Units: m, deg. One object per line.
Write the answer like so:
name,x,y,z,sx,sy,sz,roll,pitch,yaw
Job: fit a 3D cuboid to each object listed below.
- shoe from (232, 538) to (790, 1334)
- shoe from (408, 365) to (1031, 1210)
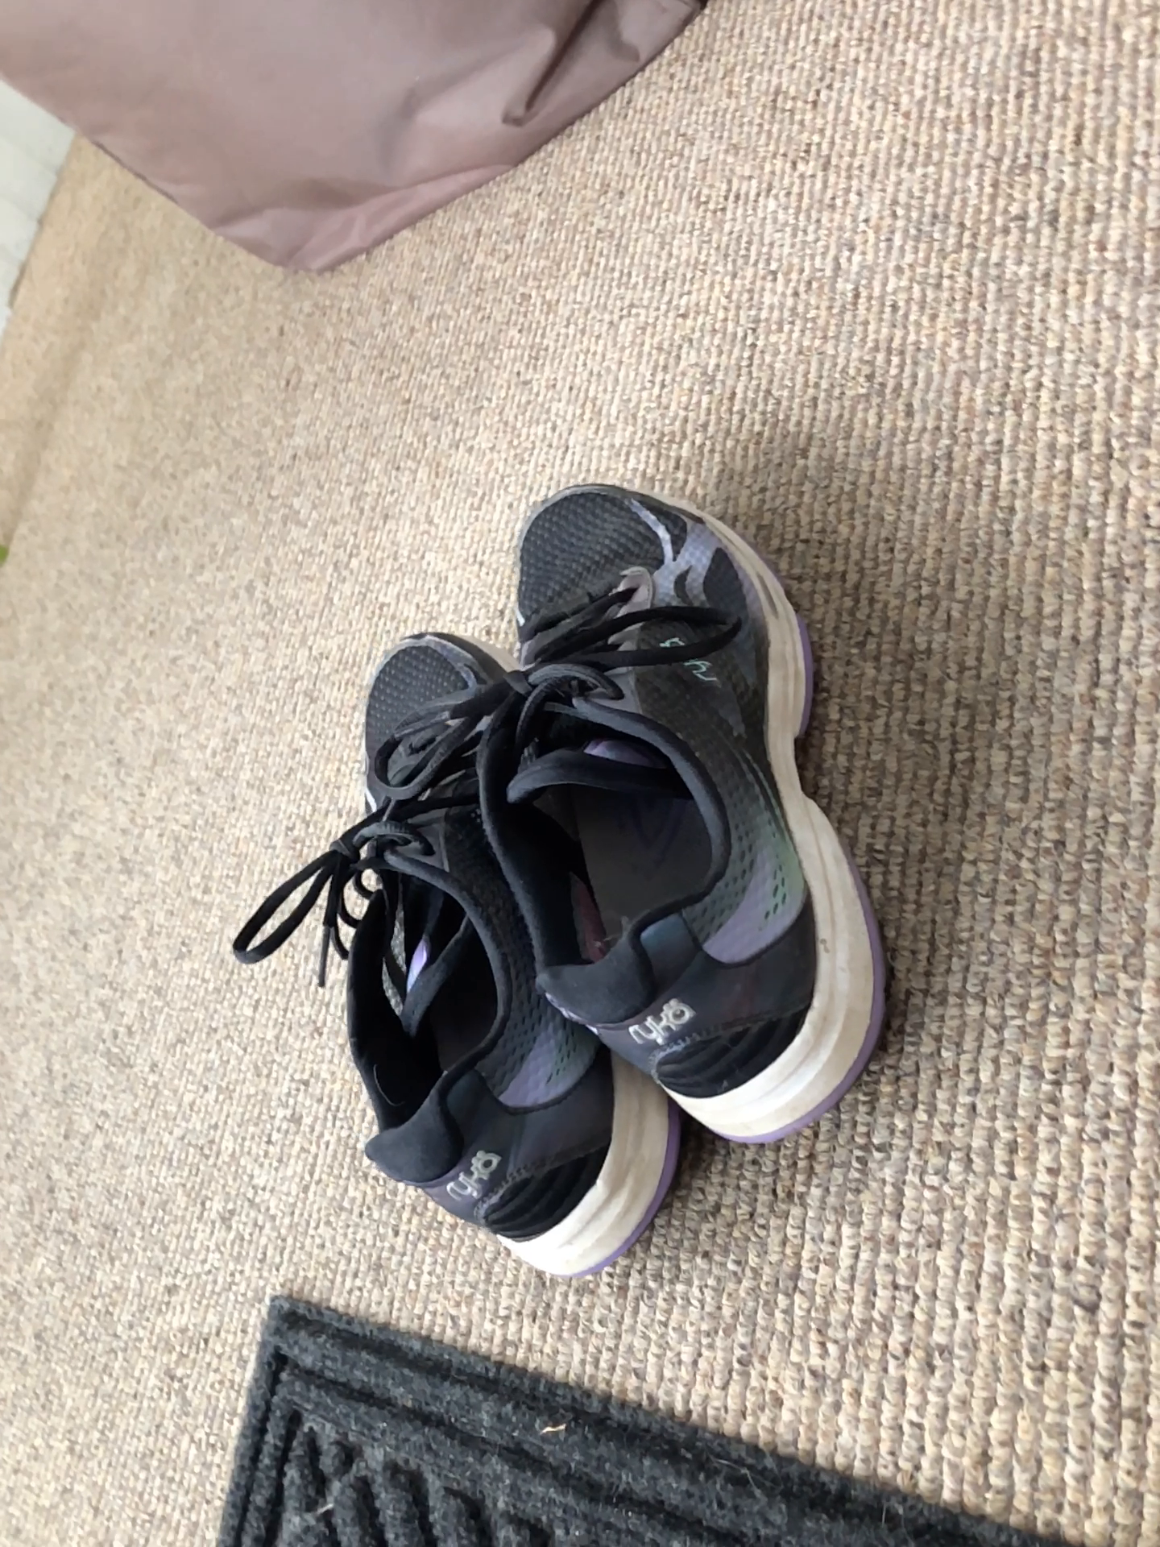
shoe,-0.040,0.051,0.475,0.110,0.103,0.258,-40,46,21
shoe,0.031,-0.003,0.437,0.102,0.103,0.258,-37,47,24
